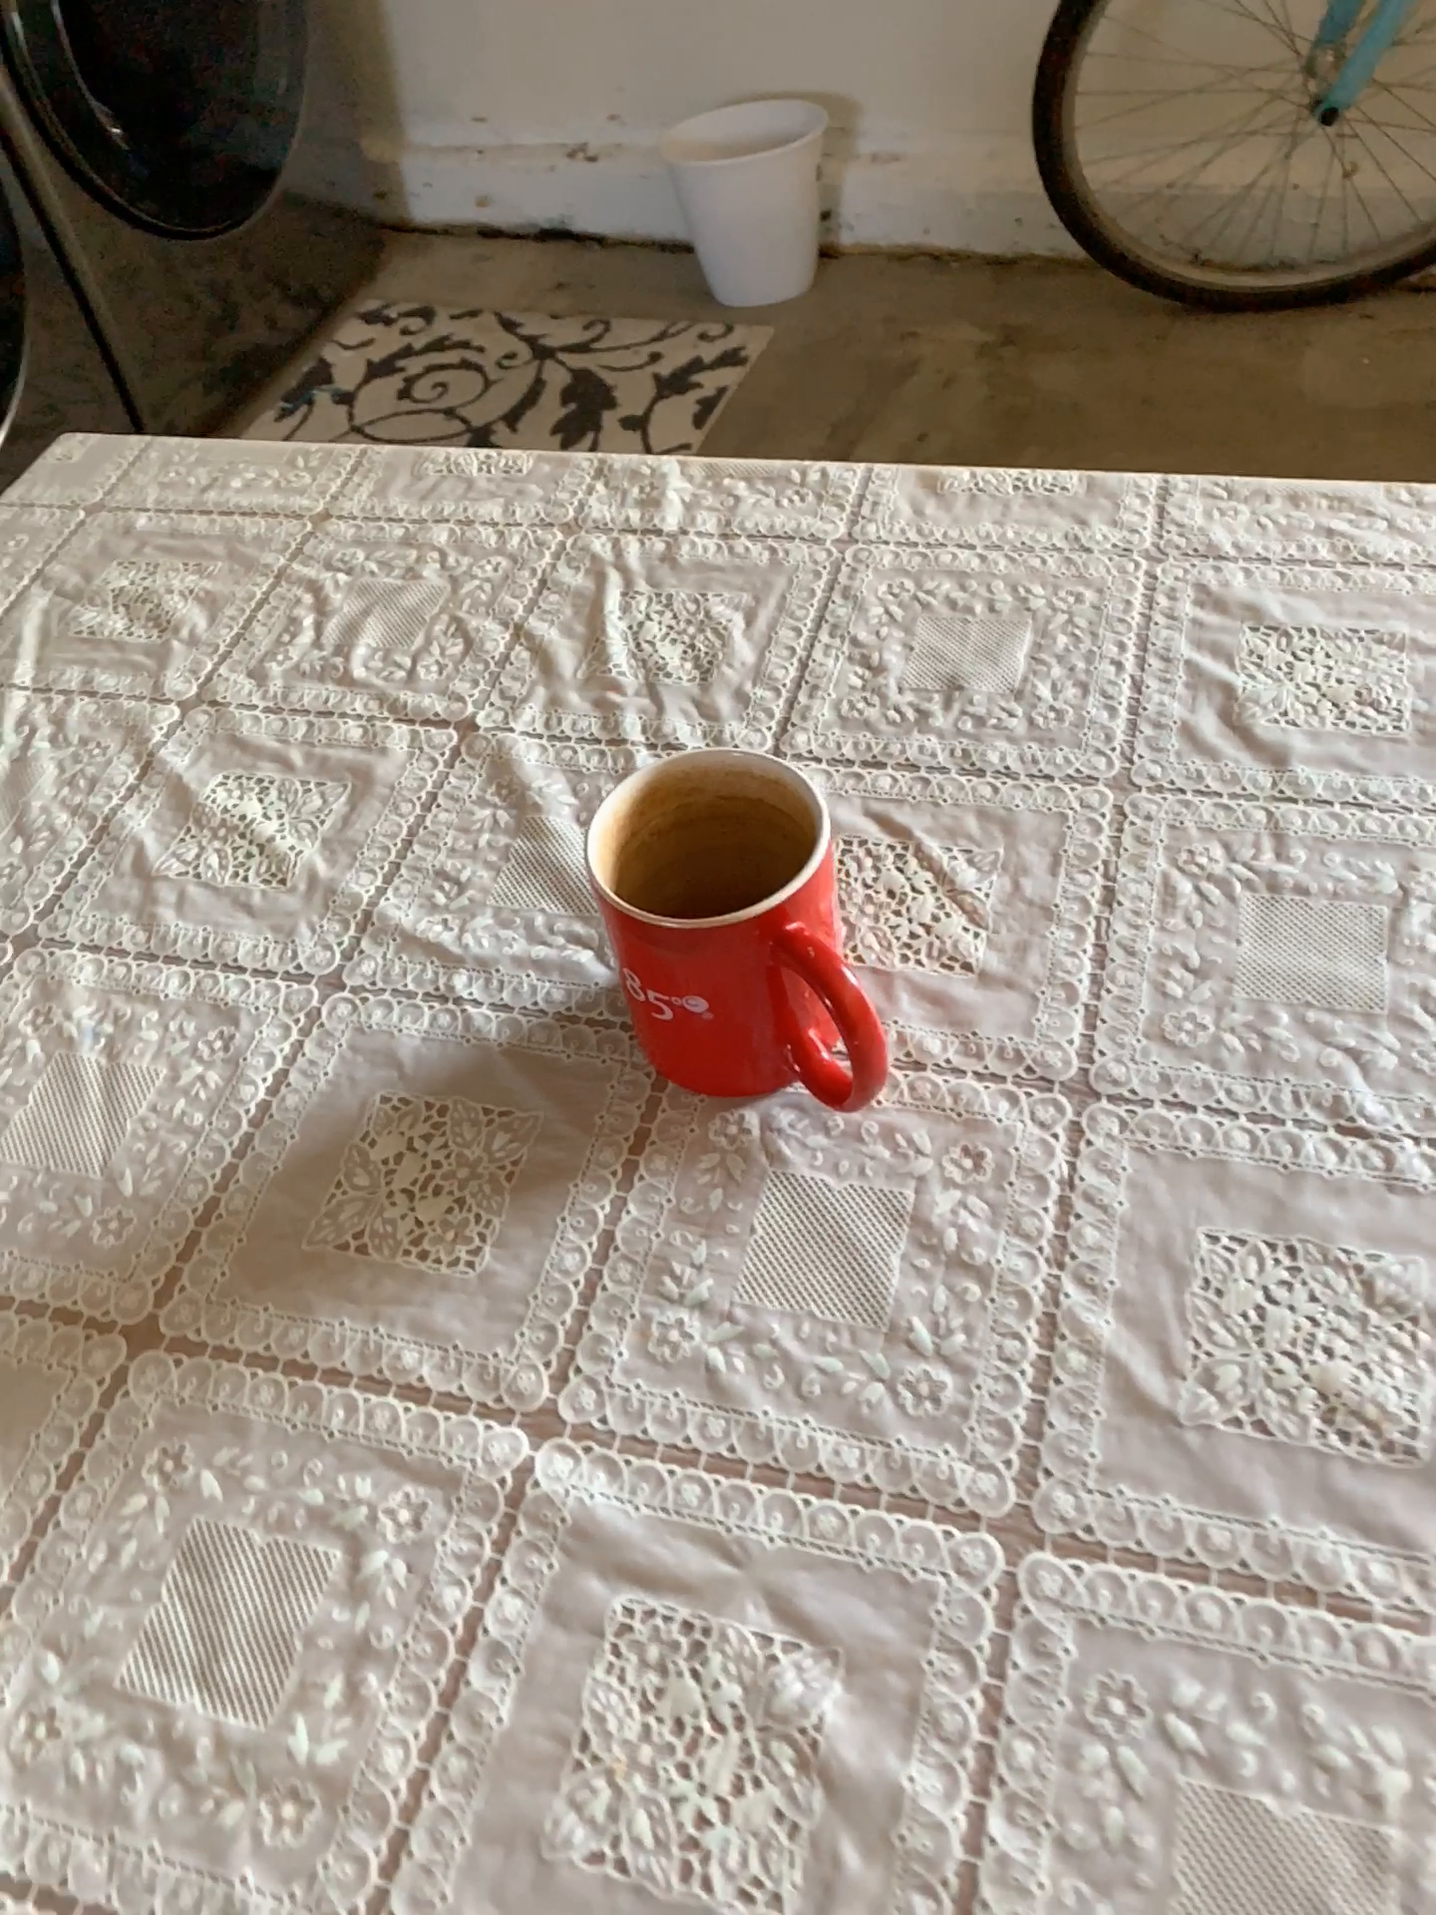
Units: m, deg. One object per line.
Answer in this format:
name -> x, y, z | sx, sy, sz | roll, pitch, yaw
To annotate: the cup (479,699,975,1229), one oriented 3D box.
cup -> 0.005, -0.001, 0.489 | 0.090, 0.090, 0.131 | -38, 55, -20
